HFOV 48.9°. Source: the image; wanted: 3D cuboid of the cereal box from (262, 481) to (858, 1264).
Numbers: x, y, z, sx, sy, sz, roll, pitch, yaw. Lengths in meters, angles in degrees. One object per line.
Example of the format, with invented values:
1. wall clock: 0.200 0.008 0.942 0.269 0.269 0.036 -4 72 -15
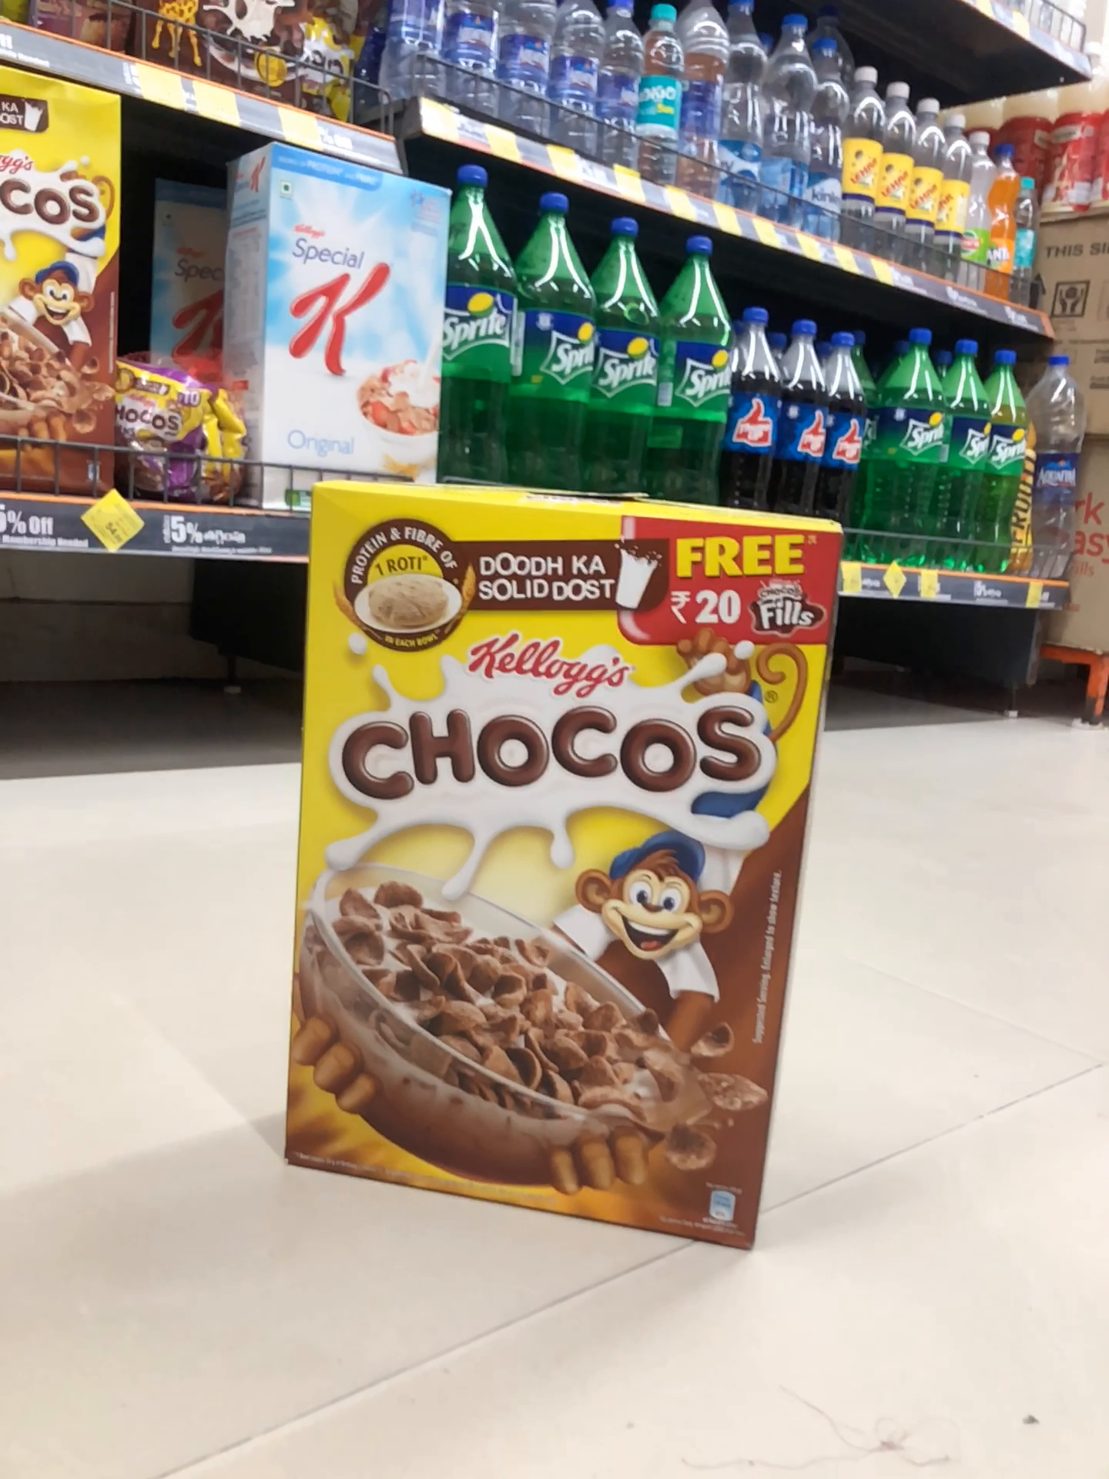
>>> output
1. cereal box: -0.002 0.043 0.459 0.190 0.259 0.070 7 13 9
